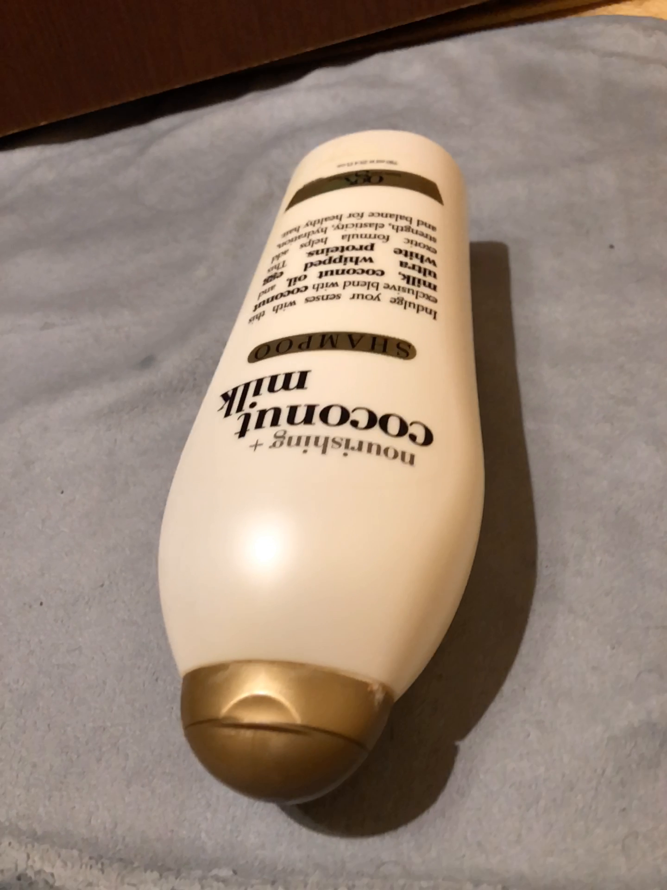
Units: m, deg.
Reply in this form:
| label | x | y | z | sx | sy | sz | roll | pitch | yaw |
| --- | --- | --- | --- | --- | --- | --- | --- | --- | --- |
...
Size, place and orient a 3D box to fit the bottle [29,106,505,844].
| label | x | y | z | sx | sy | sz | roll | pitch | yaw |
| --- | --- | --- | --- | --- | --- | --- | --- | --- | --- |
| bottle | 0.005 | -0.019 | 0.210 | 0.080 | 0.040 | 0.220 | -1 | 49 | 15 |
